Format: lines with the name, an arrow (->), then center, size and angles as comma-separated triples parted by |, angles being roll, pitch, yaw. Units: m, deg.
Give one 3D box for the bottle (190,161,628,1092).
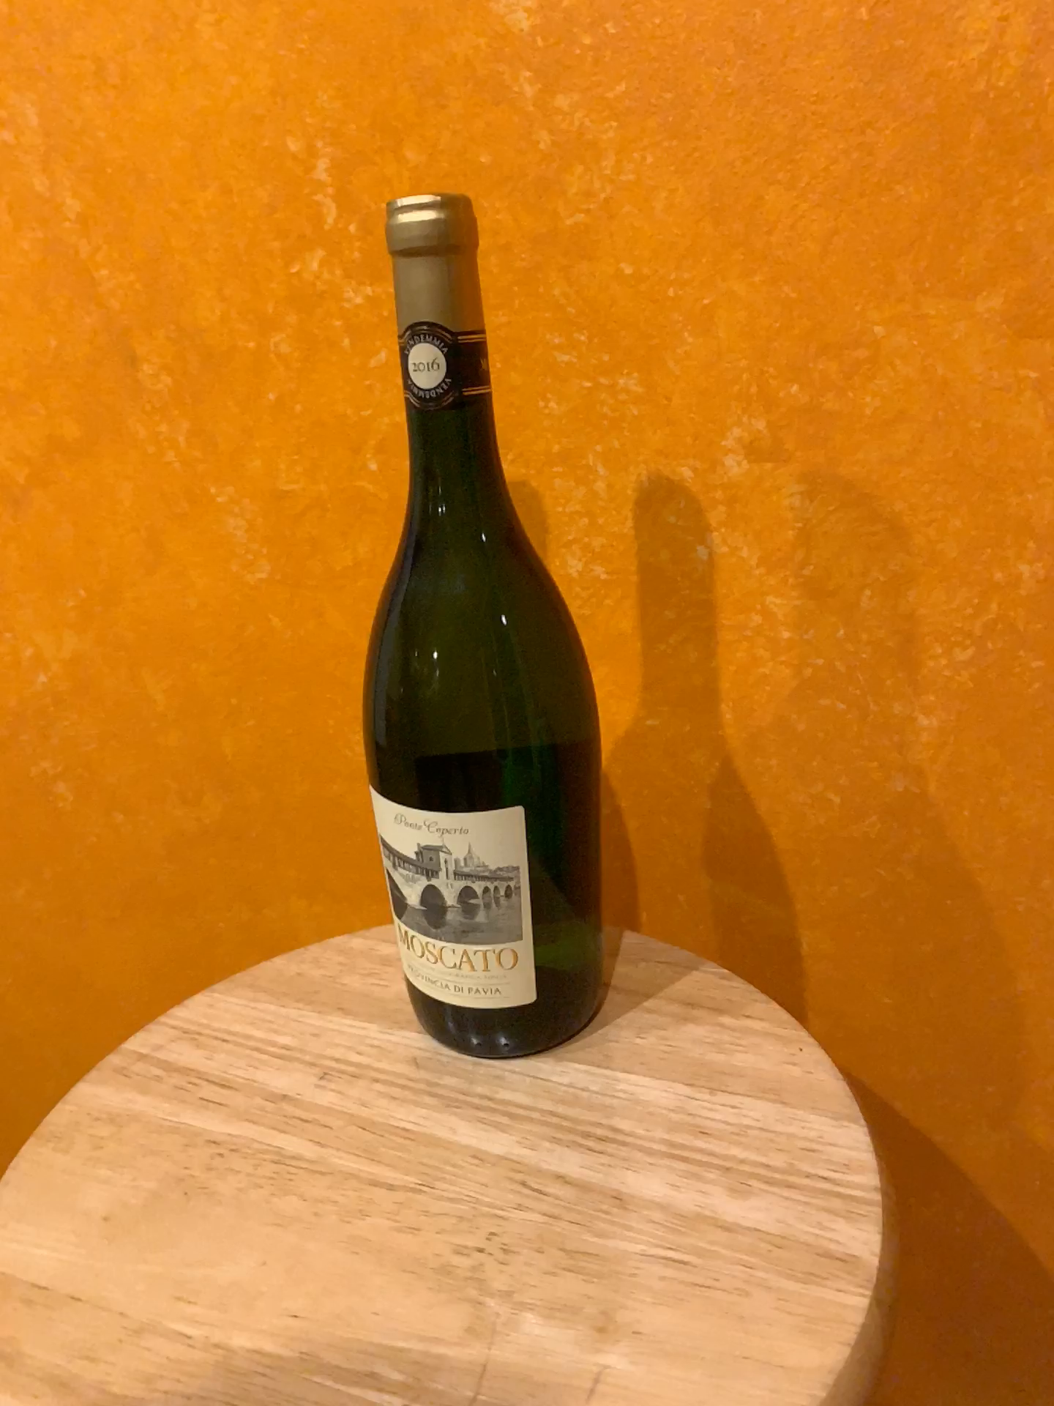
bottle -> -0.029, -0.018, 0.372 | 0.090, 0.289, 0.070 | 6, 24, 28
